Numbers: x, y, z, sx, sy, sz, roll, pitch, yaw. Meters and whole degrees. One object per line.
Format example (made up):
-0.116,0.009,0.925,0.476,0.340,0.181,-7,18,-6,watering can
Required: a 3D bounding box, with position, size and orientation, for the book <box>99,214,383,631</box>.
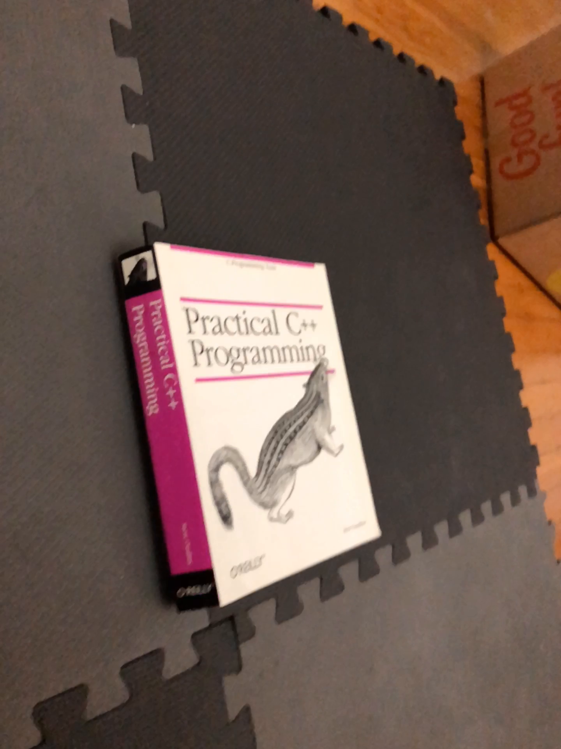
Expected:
-0.017,0.026,0.463,0.201,0.050,0.250,-3,80,-54,book
